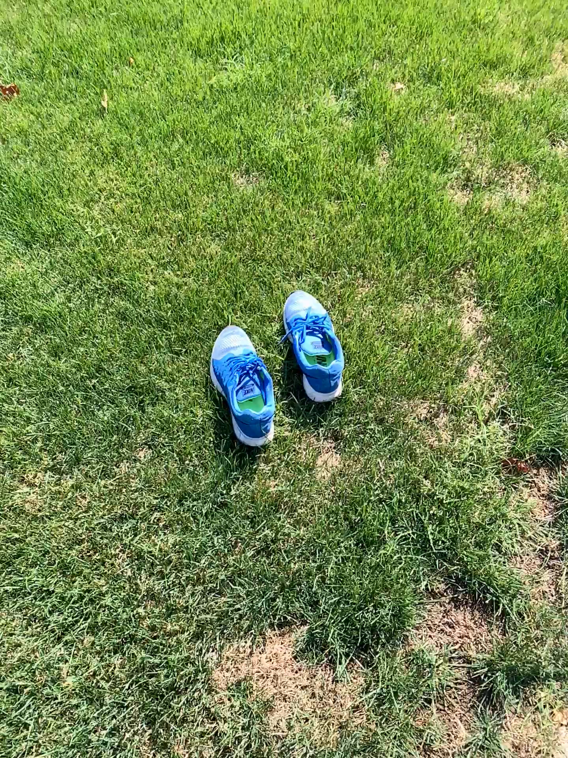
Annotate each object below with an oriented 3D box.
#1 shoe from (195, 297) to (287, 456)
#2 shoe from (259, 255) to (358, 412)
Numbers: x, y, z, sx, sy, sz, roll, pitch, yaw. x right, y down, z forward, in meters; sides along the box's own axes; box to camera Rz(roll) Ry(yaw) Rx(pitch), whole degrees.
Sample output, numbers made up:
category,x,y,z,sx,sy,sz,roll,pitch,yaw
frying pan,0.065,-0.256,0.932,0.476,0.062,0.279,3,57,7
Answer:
category,x,y,z,sx,sy,sz,roll,pitch,yaw
shoe,-0.090,-0.009,1.195,0.120,0.120,0.291,-13,59,-6
shoe,0.047,-0.100,1.253,0.130,0.140,0.291,-13,59,-6
